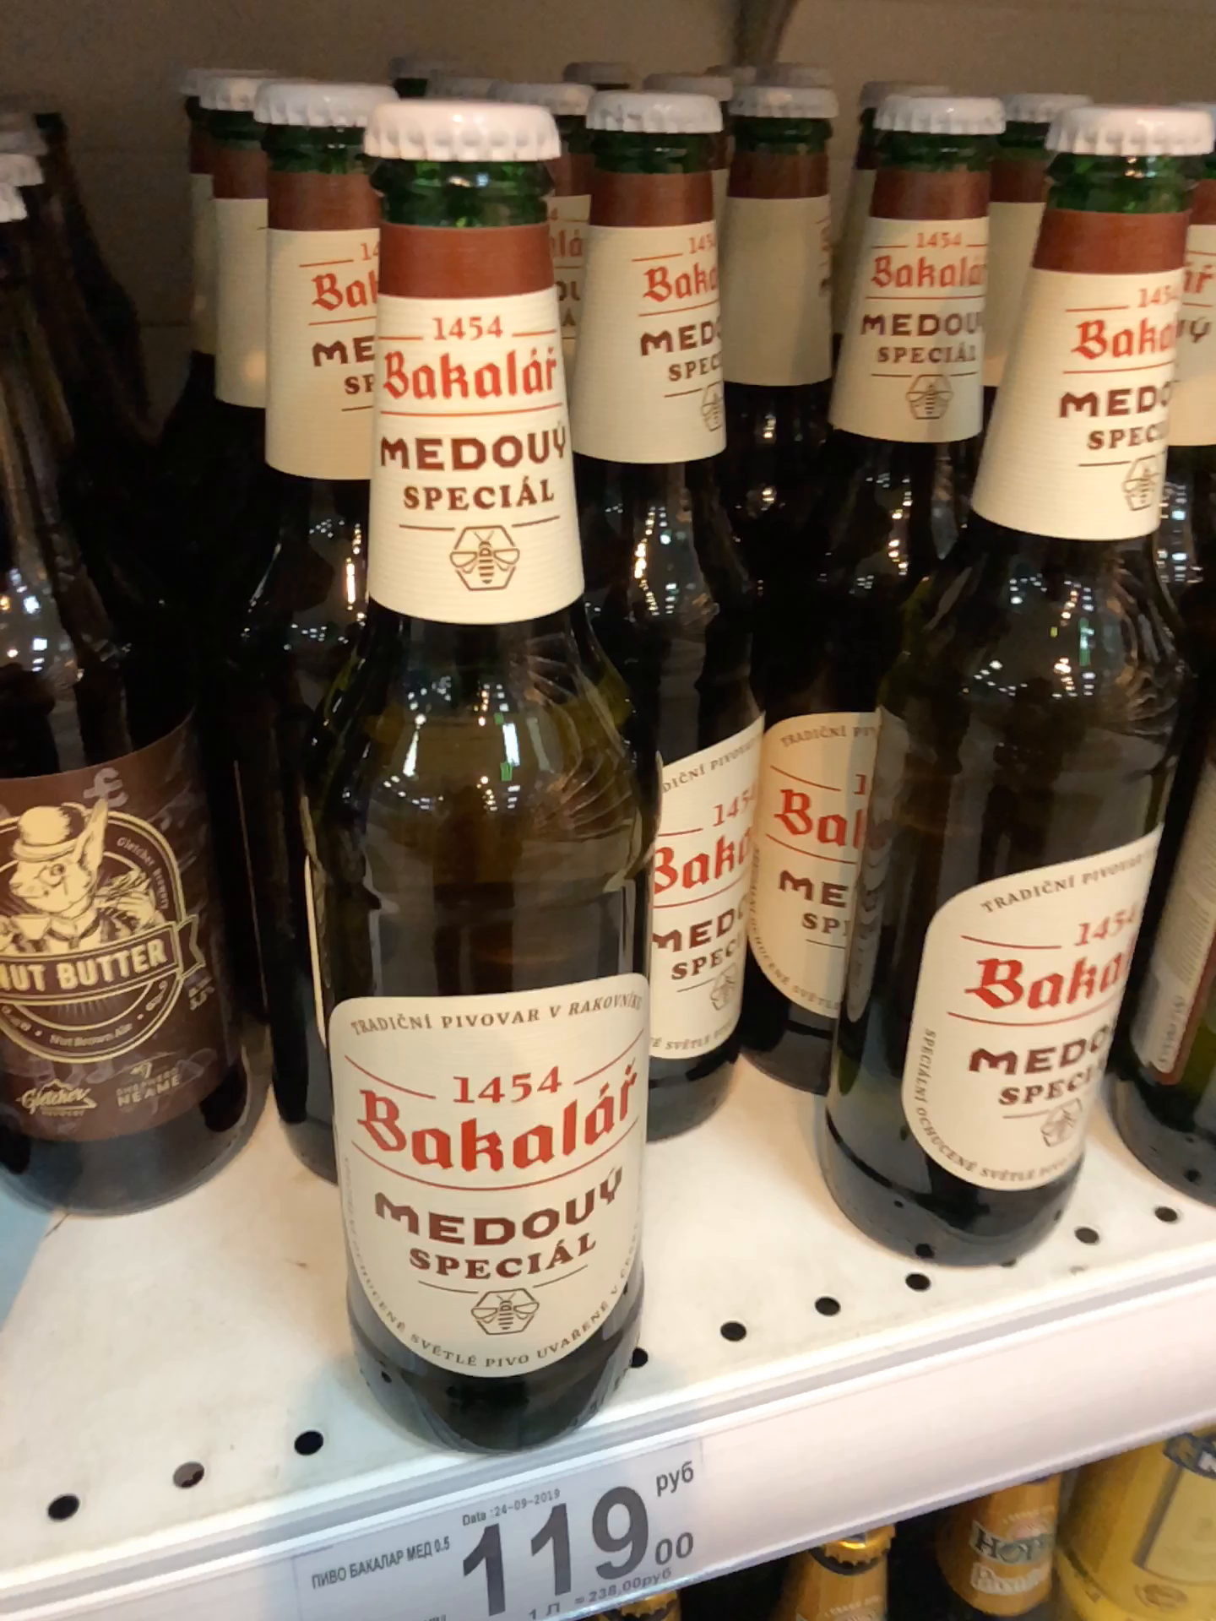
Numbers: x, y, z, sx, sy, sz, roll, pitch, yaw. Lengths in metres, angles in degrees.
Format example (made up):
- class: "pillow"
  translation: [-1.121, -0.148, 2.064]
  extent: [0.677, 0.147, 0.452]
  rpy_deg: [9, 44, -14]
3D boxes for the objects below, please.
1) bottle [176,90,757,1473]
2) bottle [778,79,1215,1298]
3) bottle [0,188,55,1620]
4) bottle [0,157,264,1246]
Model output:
- class: "bottle"
  translation: [-0.023, 0.009, 0.250]
  extent: [0.070, 0.249, 0.066]
  rpy_deg: [1, 28, -1]
- class: "bottle"
  translation: [0.085, -0.013, 0.286]
  extent: [0.065, 0.249, 0.061]
  rpy_deg: [1, 28, -1]
- class: "bottle"
  translation: [-0.163, 0.026, 0.228]
  extent: [0.061, 0.233, 0.069]
  rpy_deg: [16, 32, 25]
- class: "bottle"
  translation: [-0.126, -0.016, 0.302]
  extent: [0.069, 0.231, 0.061]
  rpy_deg: [-7, 29, -15]
